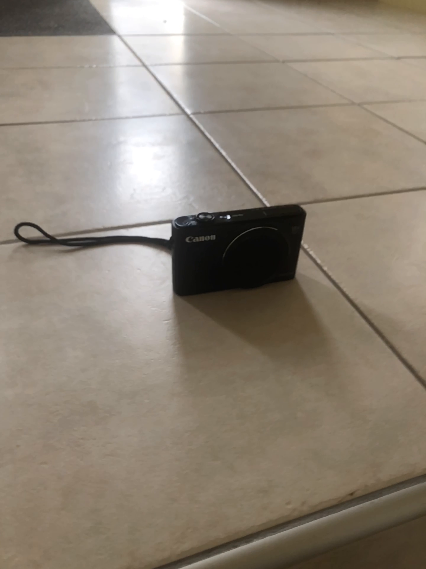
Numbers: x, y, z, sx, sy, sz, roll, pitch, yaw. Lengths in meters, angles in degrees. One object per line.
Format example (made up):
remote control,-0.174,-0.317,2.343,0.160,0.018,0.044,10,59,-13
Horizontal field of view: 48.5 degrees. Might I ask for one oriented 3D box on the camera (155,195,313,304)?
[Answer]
camera,0.014,-0.028,0.366,0.110,0.060,0.040,-8,38,-15
